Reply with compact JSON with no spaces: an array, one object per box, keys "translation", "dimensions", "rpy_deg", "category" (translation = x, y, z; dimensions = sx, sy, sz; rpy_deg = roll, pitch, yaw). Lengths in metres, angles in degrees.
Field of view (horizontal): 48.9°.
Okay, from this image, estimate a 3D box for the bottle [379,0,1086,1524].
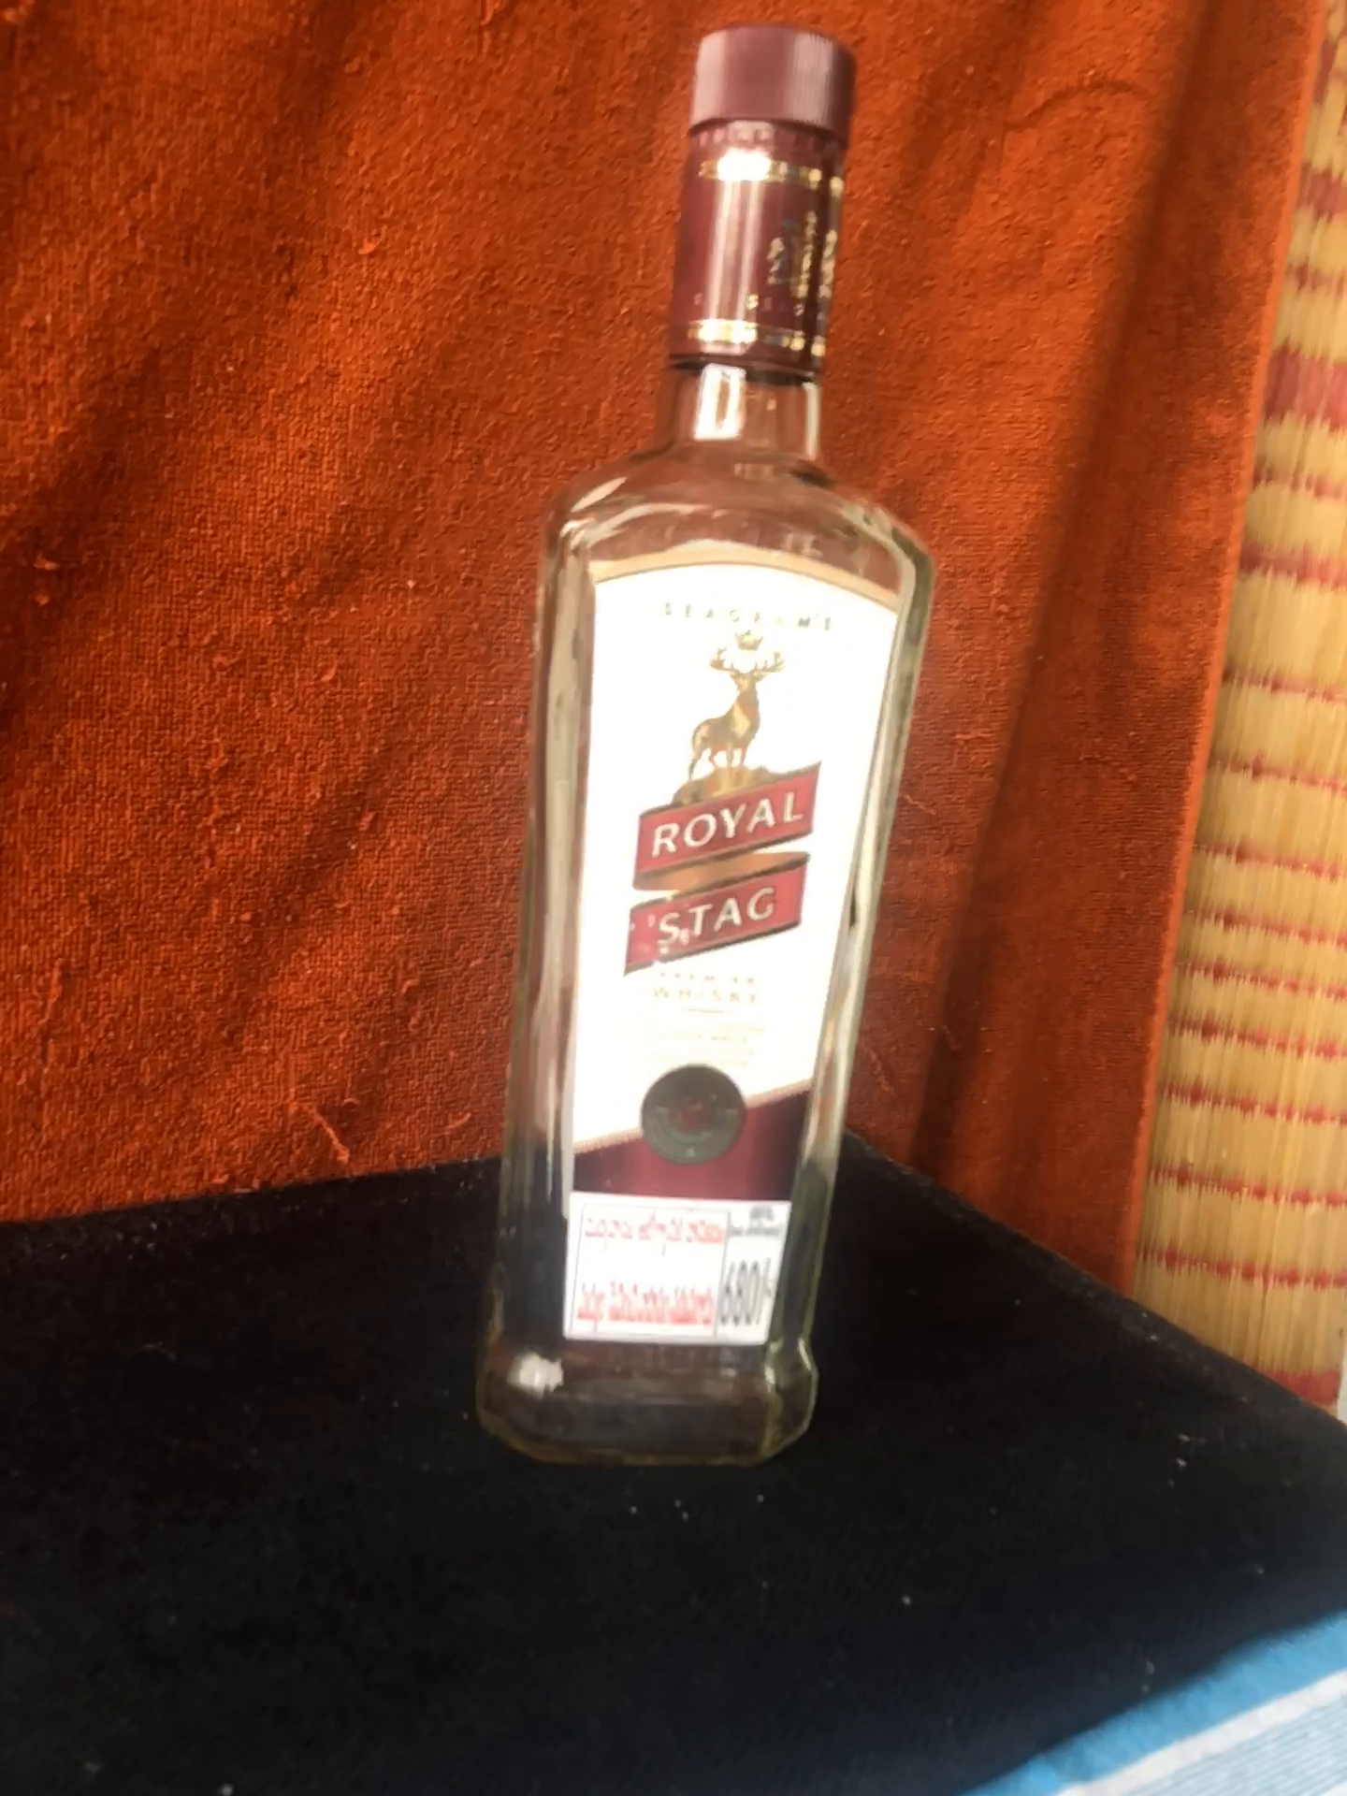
[{"translation":[0.000,-0.017,0.305],"dimensions":[0.090,0.289,0.060],"rpy_deg":[6,13,-13],"category":"bottle"}]
